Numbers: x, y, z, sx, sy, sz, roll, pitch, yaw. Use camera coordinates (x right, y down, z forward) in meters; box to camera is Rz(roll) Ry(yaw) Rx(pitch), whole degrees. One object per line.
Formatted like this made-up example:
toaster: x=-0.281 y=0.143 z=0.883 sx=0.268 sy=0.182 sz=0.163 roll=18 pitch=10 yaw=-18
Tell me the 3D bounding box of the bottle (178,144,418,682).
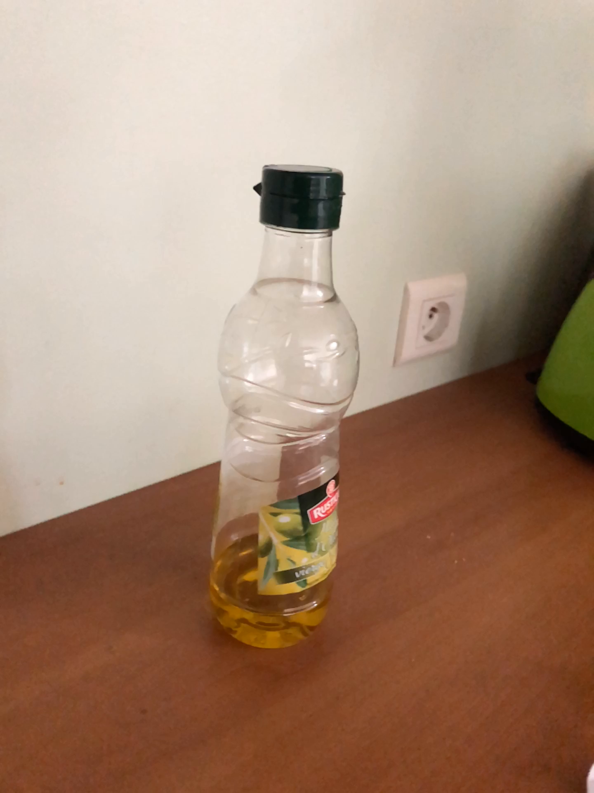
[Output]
bottle: x=-0.007 y=0.010 z=0.318 sx=0.070 sy=0.239 sz=0.070 roll=4 pitch=24 yaw=-2
